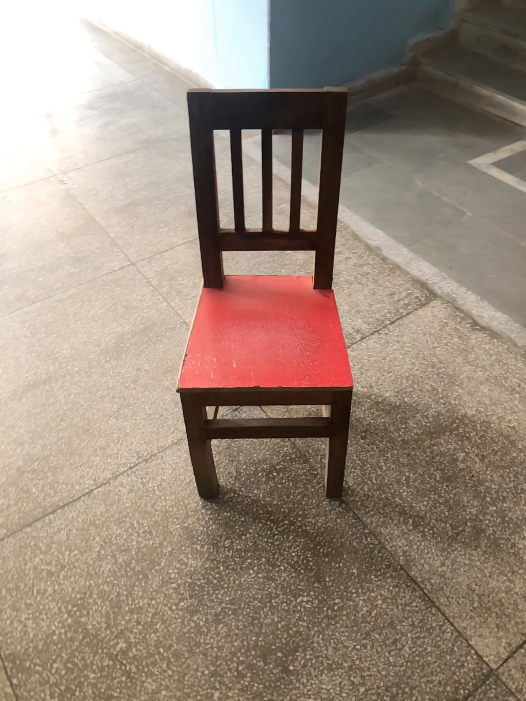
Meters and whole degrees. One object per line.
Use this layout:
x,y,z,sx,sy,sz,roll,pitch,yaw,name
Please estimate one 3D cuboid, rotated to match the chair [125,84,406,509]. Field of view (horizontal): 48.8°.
-0.007,-0.077,1.285,0.400,0.817,0.482,0,45,-1,chair
